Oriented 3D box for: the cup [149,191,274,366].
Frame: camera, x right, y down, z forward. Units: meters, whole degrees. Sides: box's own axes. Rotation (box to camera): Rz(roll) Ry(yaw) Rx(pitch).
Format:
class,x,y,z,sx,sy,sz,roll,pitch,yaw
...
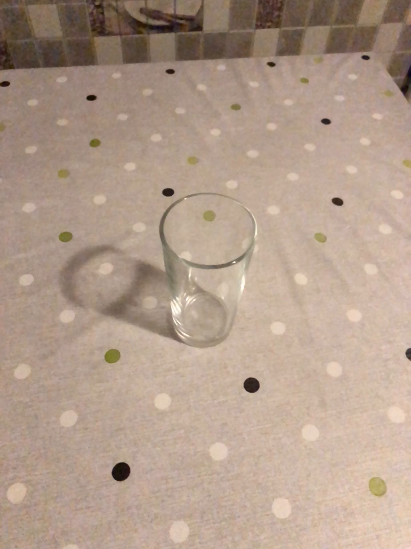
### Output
class,x,y,z,sx,sy,sz,roll,pitch,yaw
cup,0.000,0.008,0.338,0.069,0.117,0.068,1,55,-1
